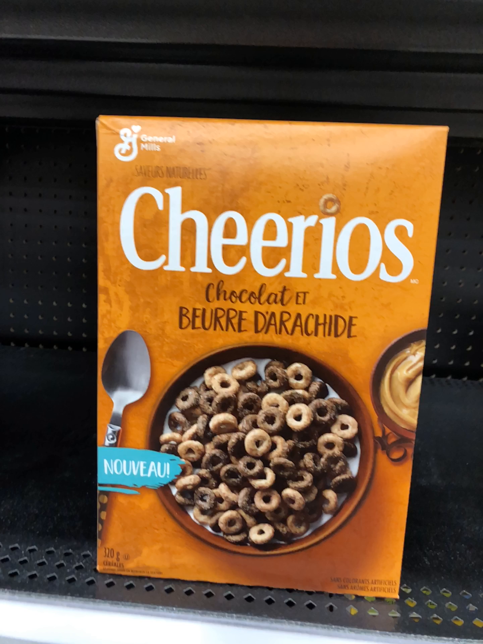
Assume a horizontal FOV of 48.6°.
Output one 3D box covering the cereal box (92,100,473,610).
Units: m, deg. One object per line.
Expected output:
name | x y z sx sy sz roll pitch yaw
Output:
cereal box | 0.014 0.023 0.338 0.200 0.289 0.060 4 11 3
